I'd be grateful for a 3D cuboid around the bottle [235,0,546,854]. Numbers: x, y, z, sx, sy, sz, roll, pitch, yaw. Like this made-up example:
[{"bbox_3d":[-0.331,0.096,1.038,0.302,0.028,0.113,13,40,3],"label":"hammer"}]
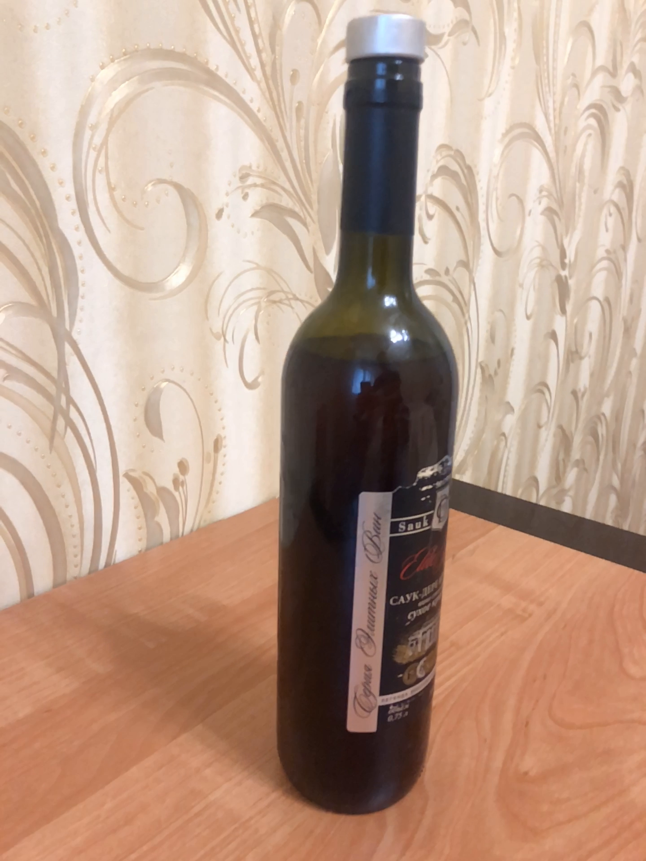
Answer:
[{"bbox_3d":[0.021,0.004,0.299,0.073,0.322,0.083,17,23,40],"label":"bottle"}]
